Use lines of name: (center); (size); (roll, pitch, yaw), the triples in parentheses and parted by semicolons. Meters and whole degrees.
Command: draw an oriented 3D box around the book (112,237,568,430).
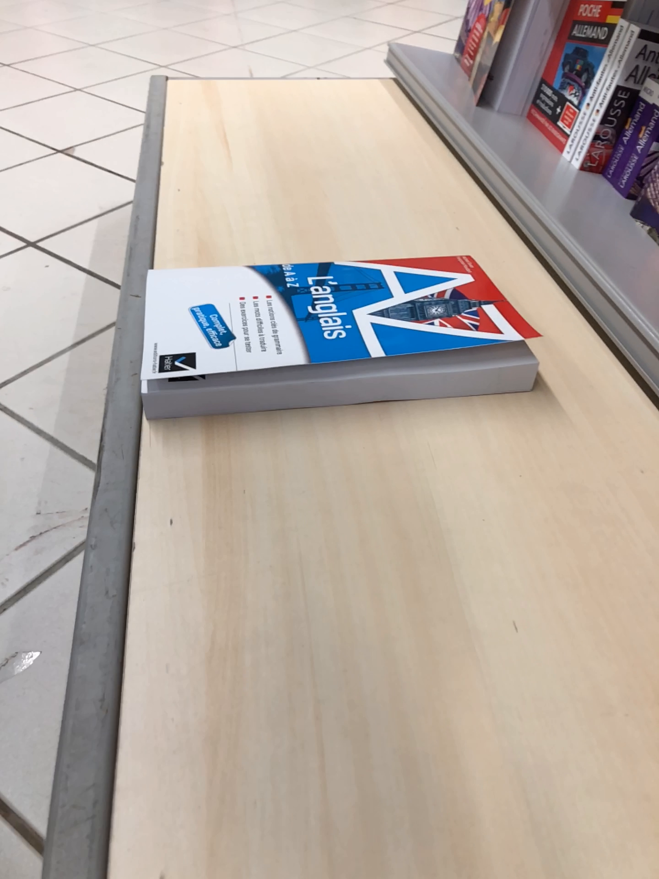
book: (0.000, -0.071, 0.430); (0.234, 0.030, 0.144); (-4, 42, -8)
